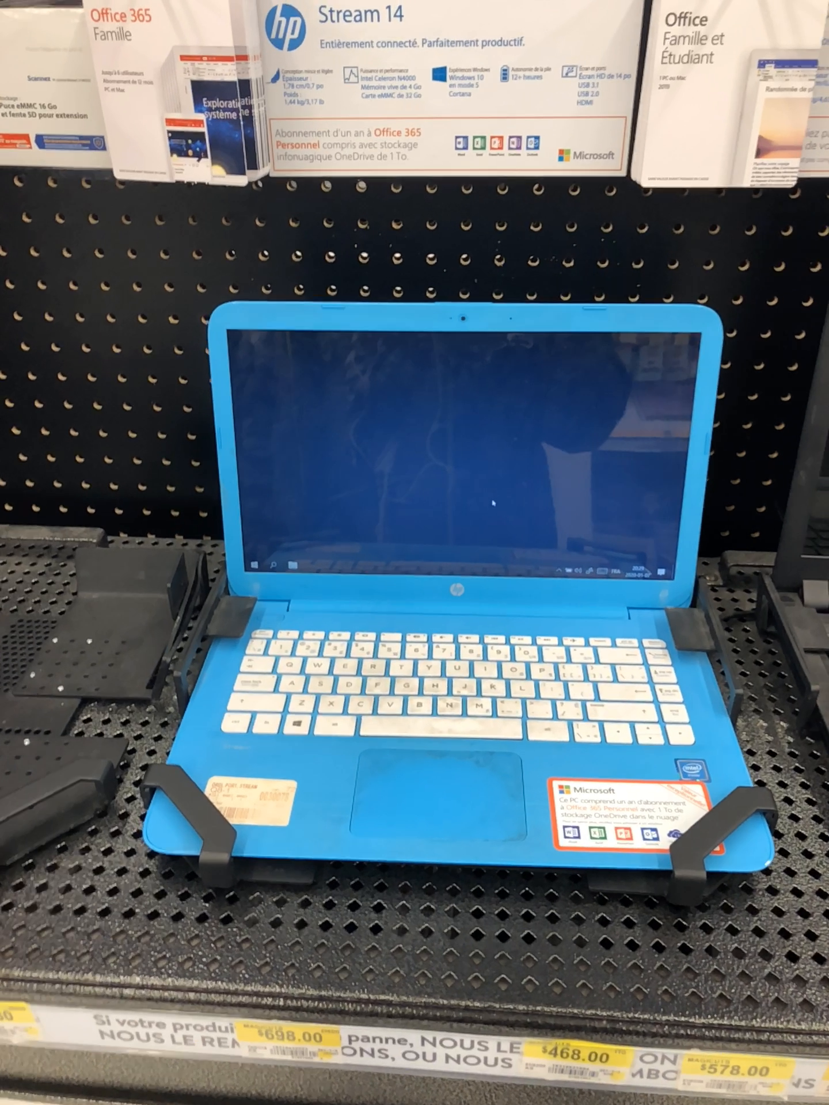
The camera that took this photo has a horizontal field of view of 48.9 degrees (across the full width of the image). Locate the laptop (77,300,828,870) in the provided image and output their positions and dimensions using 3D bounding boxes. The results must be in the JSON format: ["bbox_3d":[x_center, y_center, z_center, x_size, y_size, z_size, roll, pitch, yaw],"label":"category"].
[{"bbox_3d":[0.024,-0.003,0.533,0.318,0.197,0.270,1,34,4],"label":"laptop"}]
